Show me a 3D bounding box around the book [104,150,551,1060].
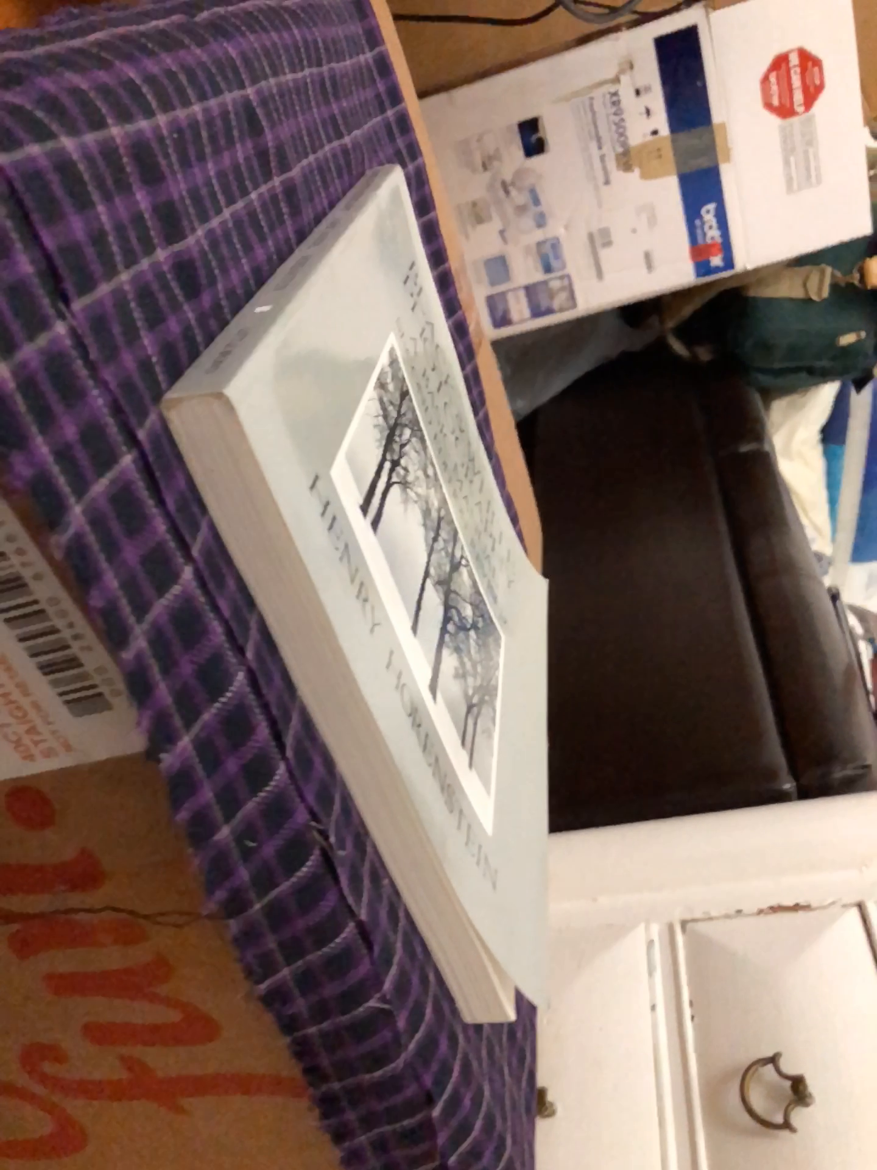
[{"bbox_3d":[-0.004,-0.016,0.337,0.251,0.030,0.210,-78,153,-56],"label":"book"}]
